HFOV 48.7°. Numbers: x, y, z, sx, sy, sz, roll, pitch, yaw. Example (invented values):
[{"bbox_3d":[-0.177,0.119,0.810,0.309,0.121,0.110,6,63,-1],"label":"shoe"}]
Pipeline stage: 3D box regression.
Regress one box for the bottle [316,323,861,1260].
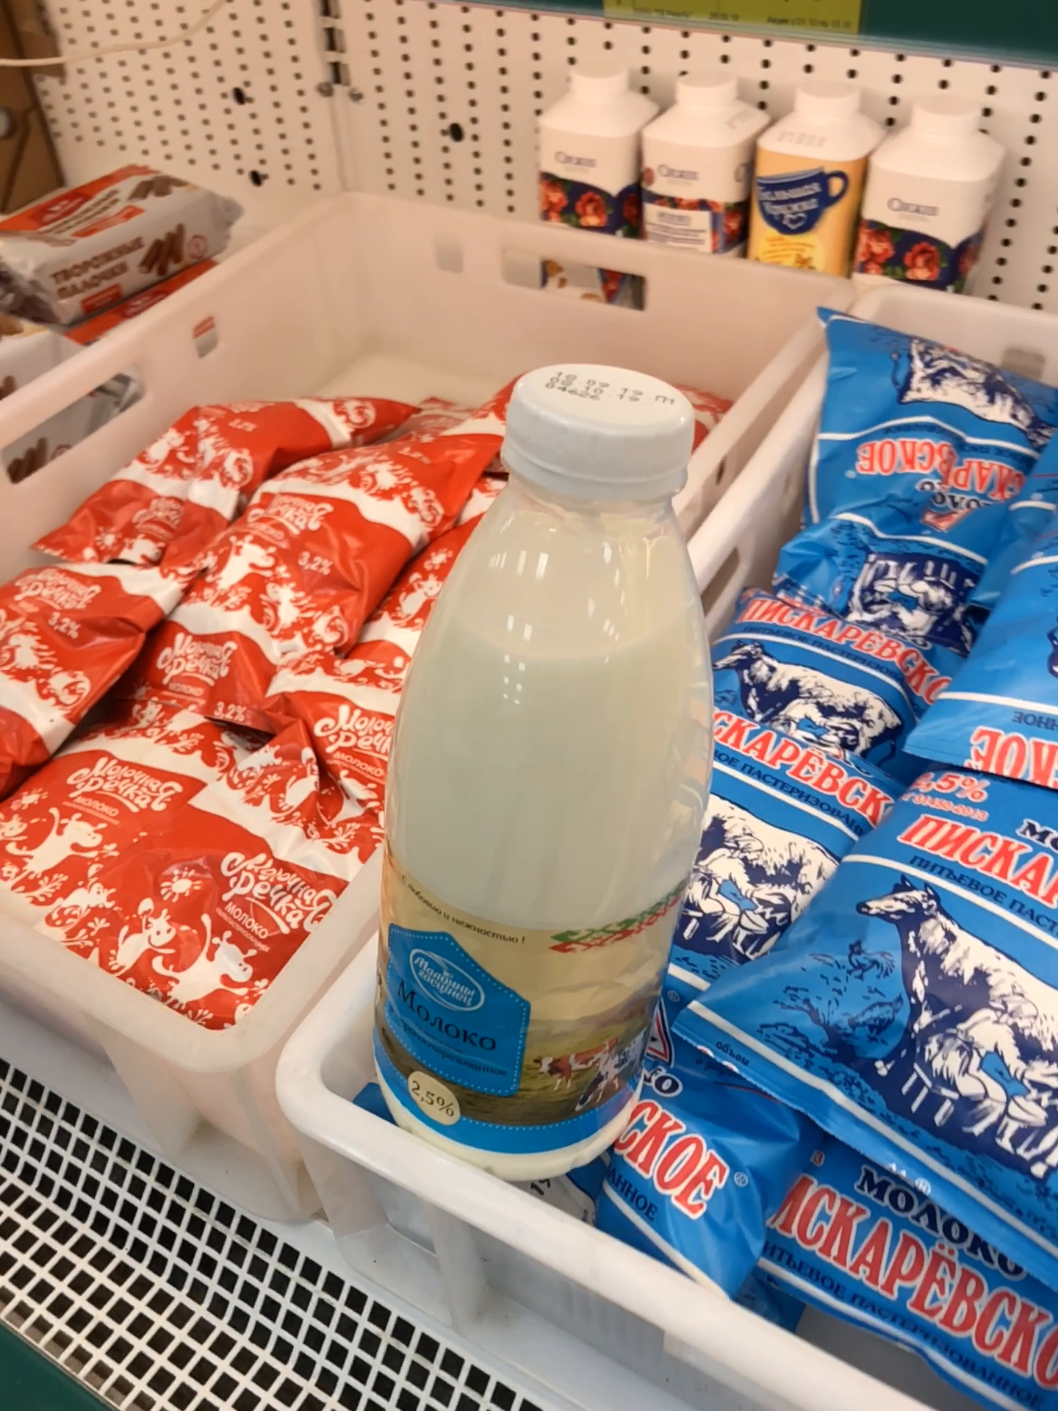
[{"bbox_3d":[0.006,0.027,0.326,0.090,0.229,0.090,5,32,-3],"label":"bottle"}]
